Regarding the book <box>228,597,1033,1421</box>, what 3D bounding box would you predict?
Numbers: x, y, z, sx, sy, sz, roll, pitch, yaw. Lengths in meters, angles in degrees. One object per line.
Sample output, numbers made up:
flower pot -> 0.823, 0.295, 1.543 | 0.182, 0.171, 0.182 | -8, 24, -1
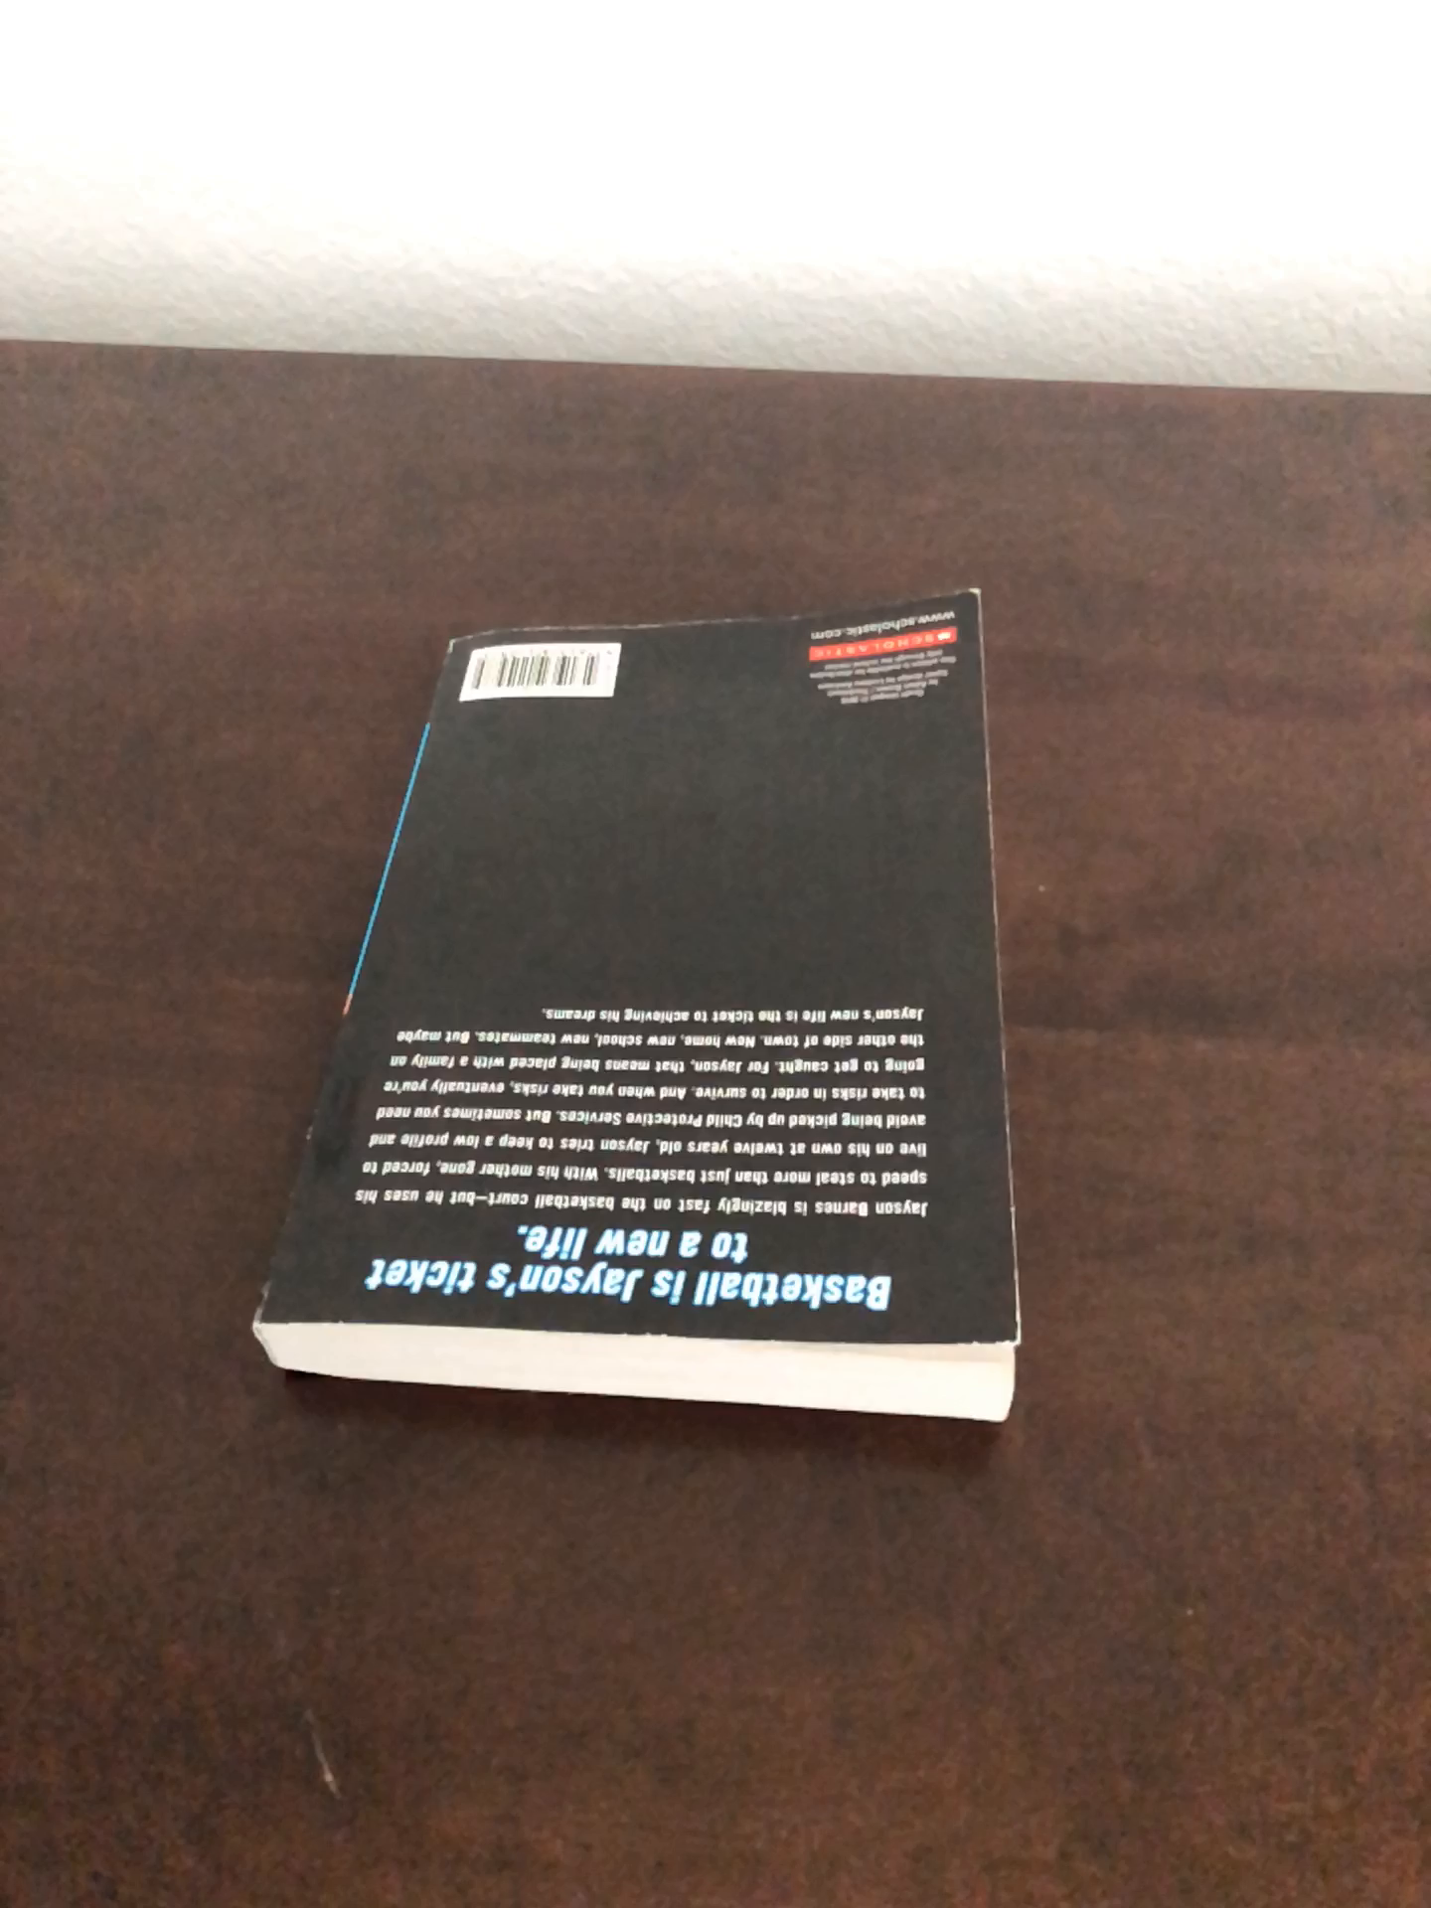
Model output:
book -> -0.007, -0.001, 0.351 | 0.140, 0.036, 0.199 | 0, 49, 7
